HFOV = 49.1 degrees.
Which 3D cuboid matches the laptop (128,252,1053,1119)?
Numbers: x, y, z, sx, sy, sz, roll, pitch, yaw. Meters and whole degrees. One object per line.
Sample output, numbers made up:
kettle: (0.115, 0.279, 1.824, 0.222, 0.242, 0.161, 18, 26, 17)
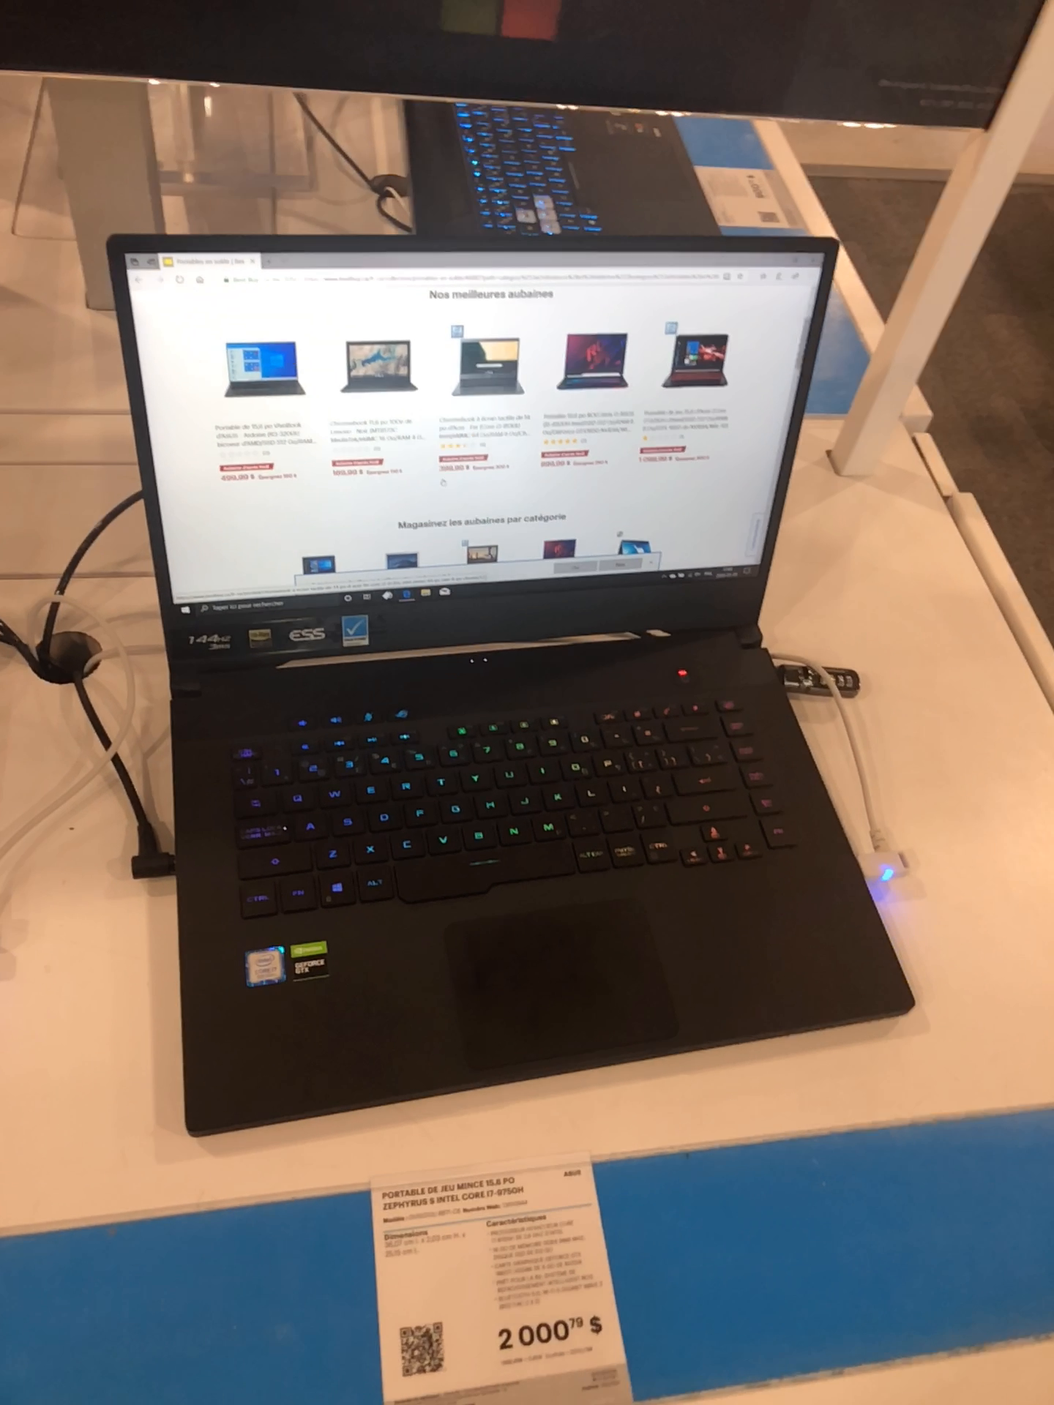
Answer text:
laptop: (0.009, -0.024, 0.537, 0.340, 0.207, 0.315, -5, 54, -12)
